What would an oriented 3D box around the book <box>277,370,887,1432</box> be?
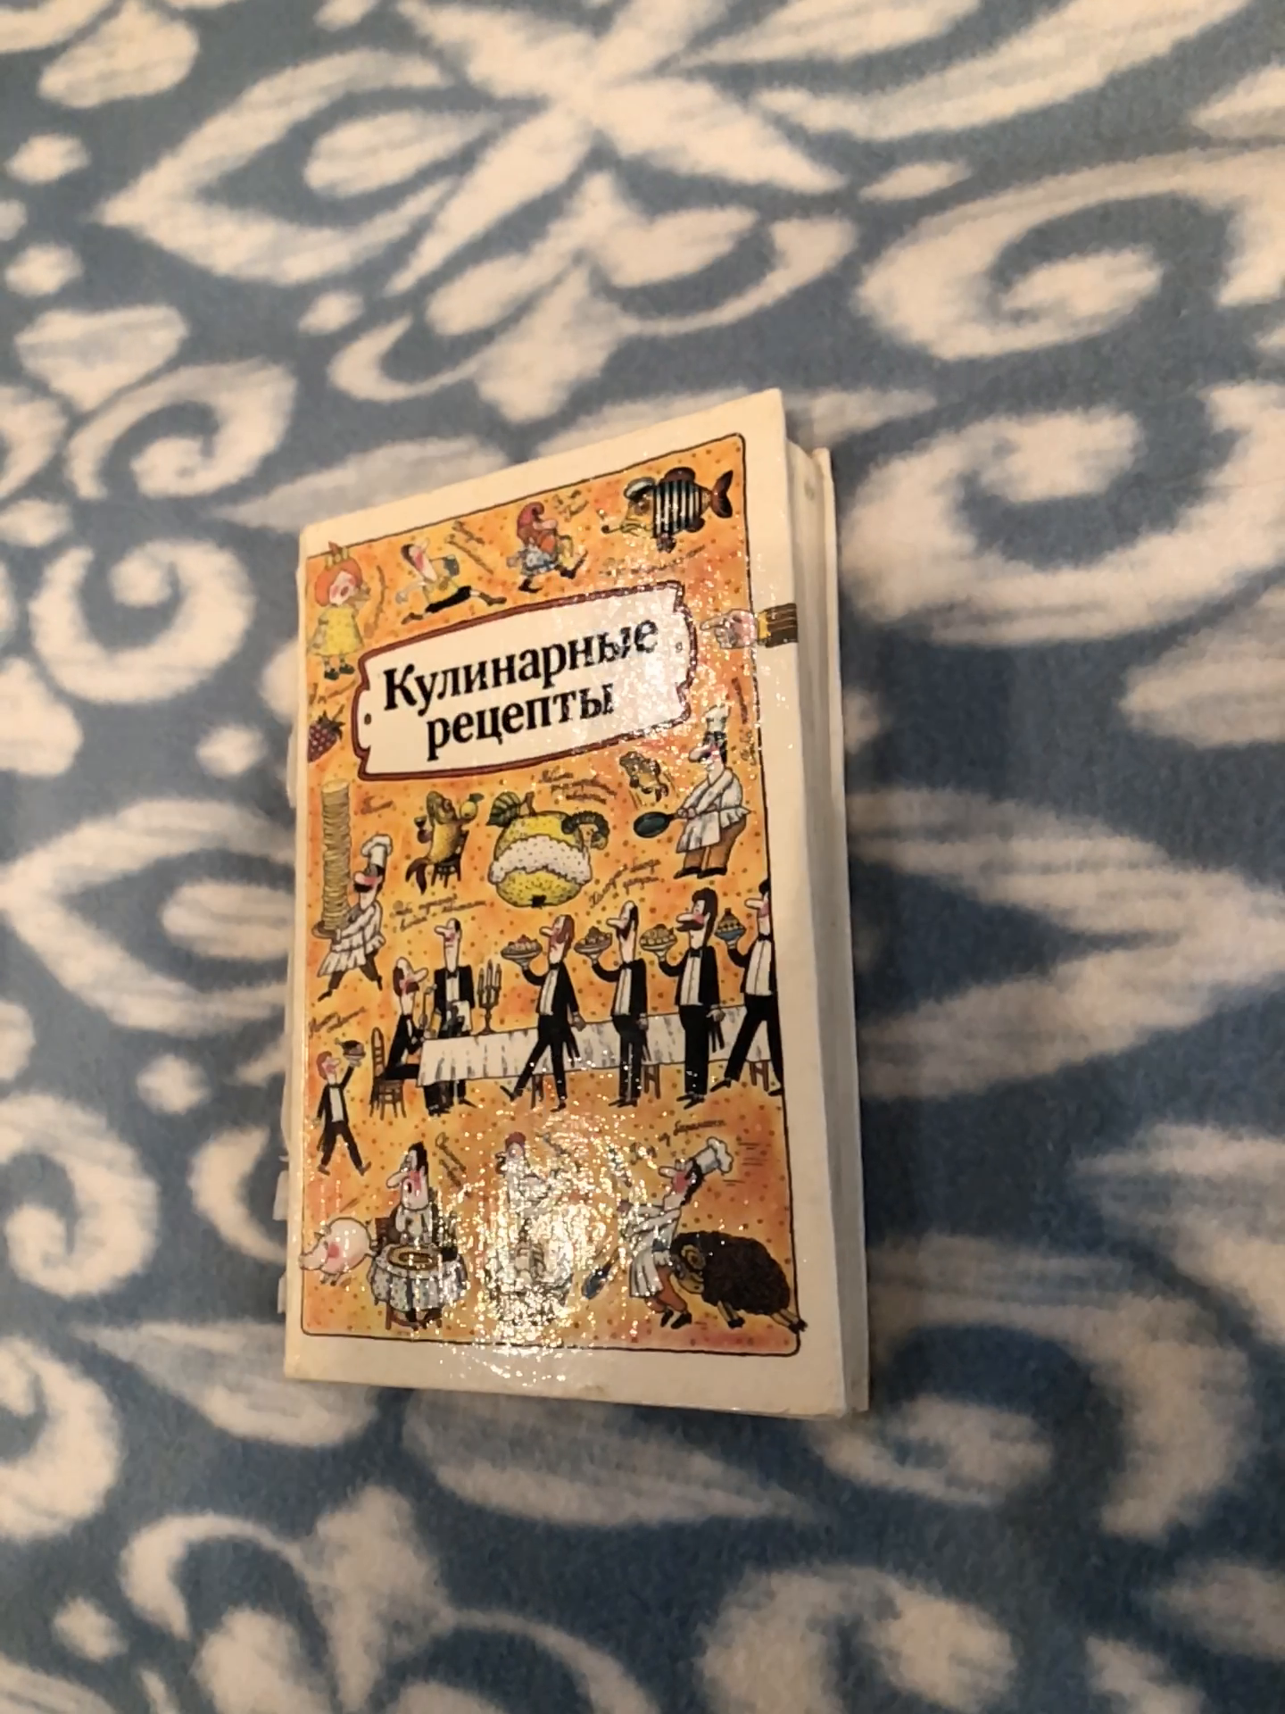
[{"bbox_3d":[-0.023,0.012,0.340,0.142,0.032,0.220,-8,78,29],"label":"book"}]
